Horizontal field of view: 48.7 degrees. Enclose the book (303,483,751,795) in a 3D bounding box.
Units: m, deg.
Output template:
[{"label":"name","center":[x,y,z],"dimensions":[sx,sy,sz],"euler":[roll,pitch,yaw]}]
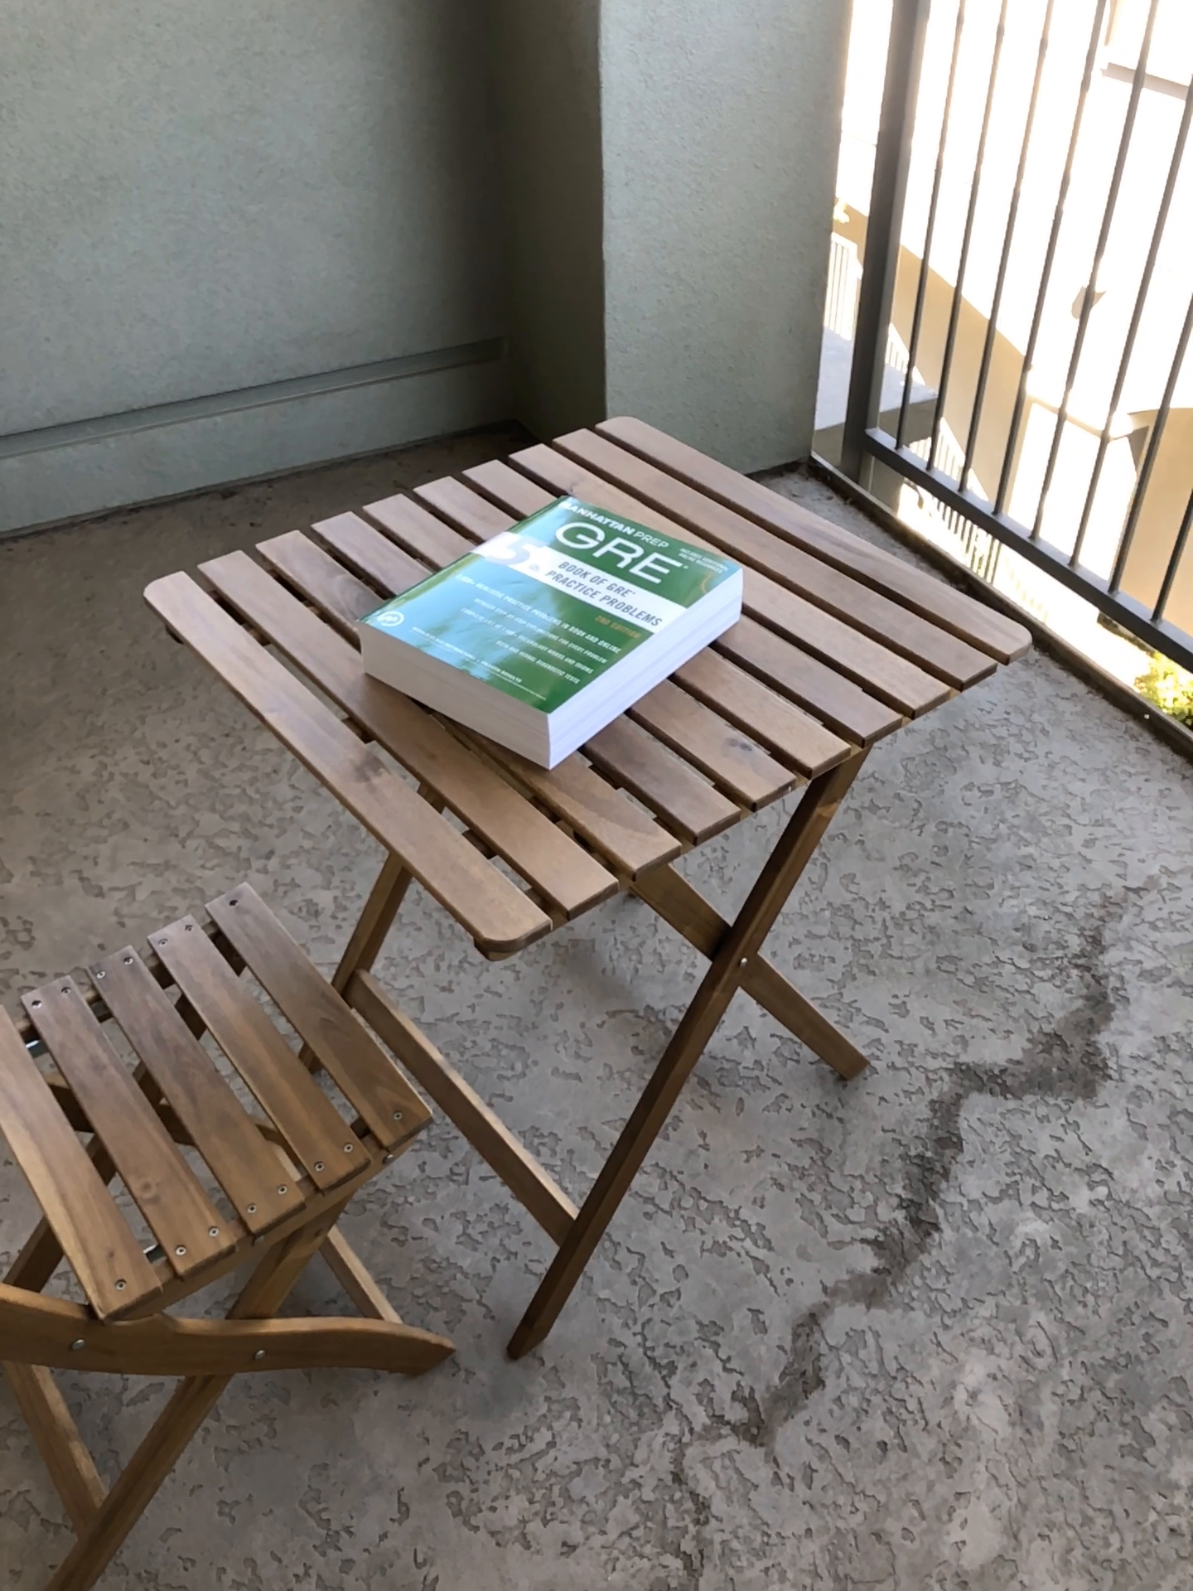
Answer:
[{"label":"book","center":[-0.055,-0.155,1.174],"dimensions":[0.250,0.060,0.311],"euler":[27,48,28]}]
